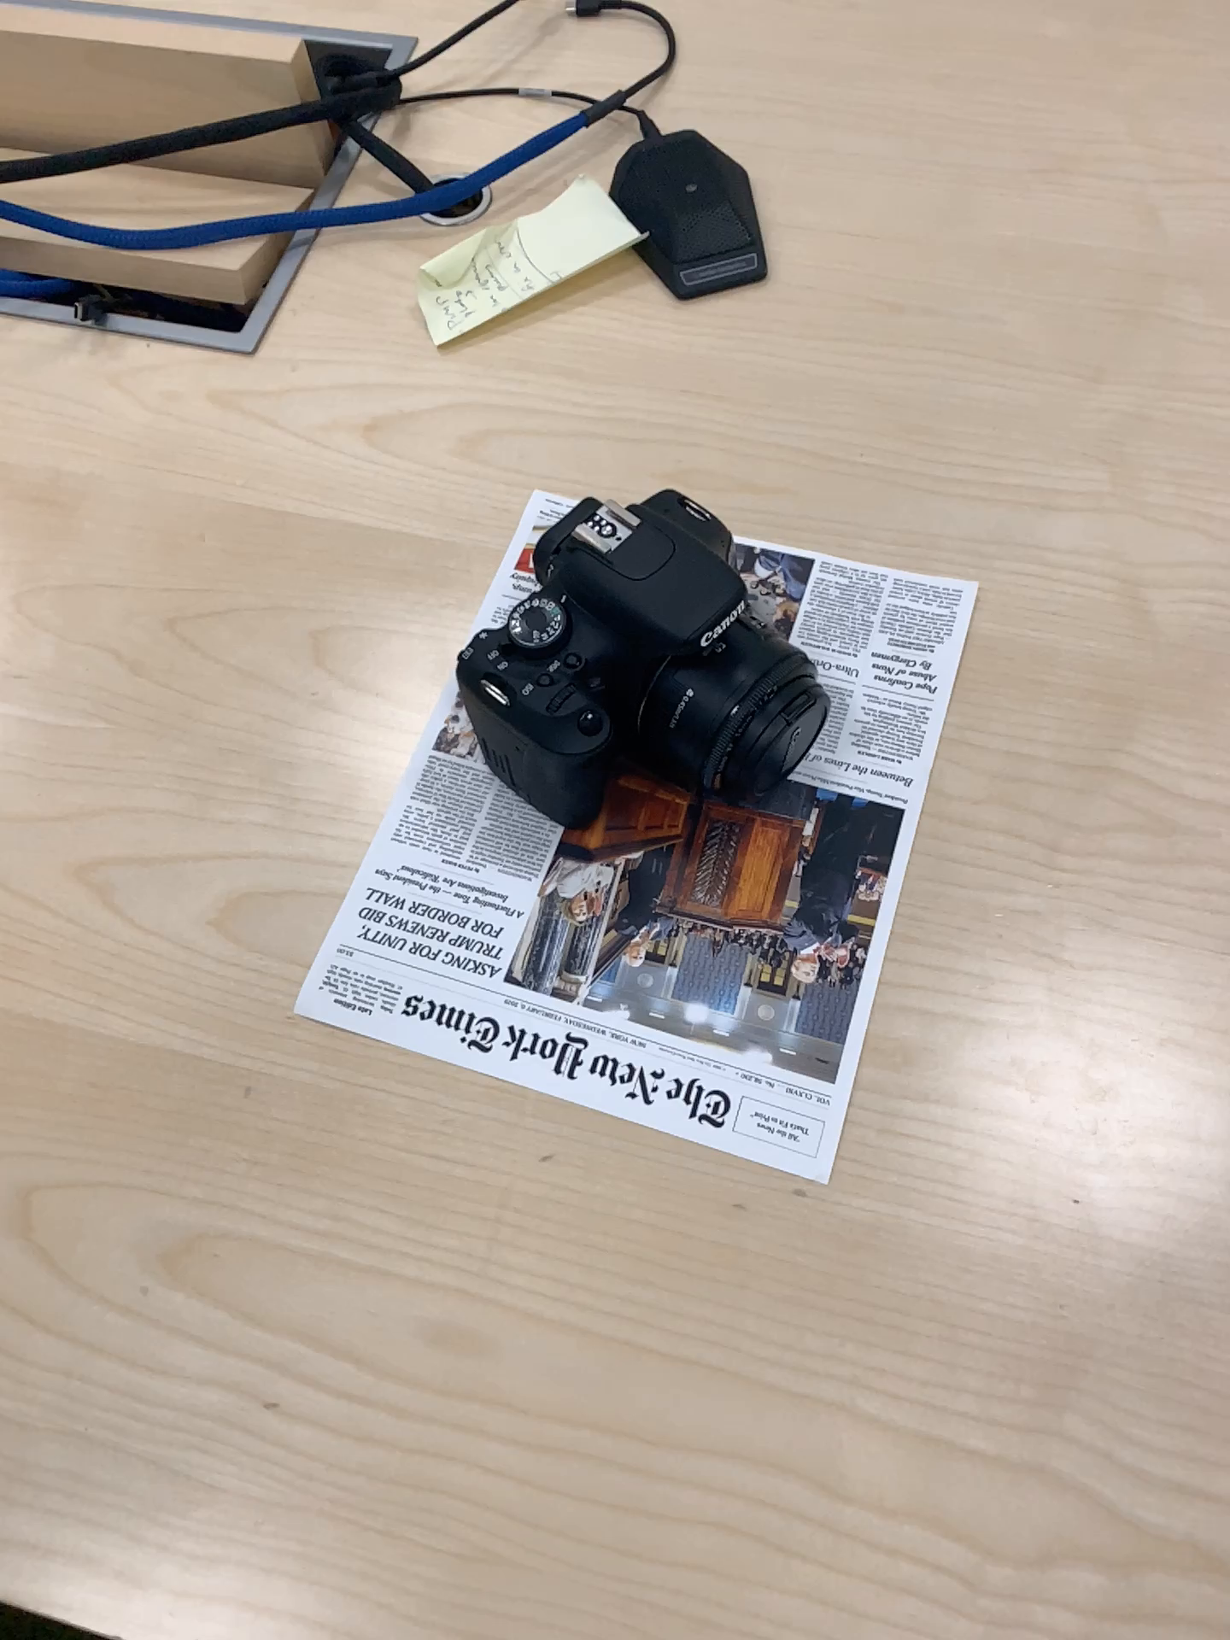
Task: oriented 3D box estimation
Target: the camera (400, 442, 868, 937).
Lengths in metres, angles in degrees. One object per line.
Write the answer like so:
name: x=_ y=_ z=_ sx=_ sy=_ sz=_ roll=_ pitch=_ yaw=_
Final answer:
camera: x=0.008 y=-0.052 z=0.512 sx=0.124 sy=0.100 sz=0.122 roll=-42 pitch=68 yaw=-17
